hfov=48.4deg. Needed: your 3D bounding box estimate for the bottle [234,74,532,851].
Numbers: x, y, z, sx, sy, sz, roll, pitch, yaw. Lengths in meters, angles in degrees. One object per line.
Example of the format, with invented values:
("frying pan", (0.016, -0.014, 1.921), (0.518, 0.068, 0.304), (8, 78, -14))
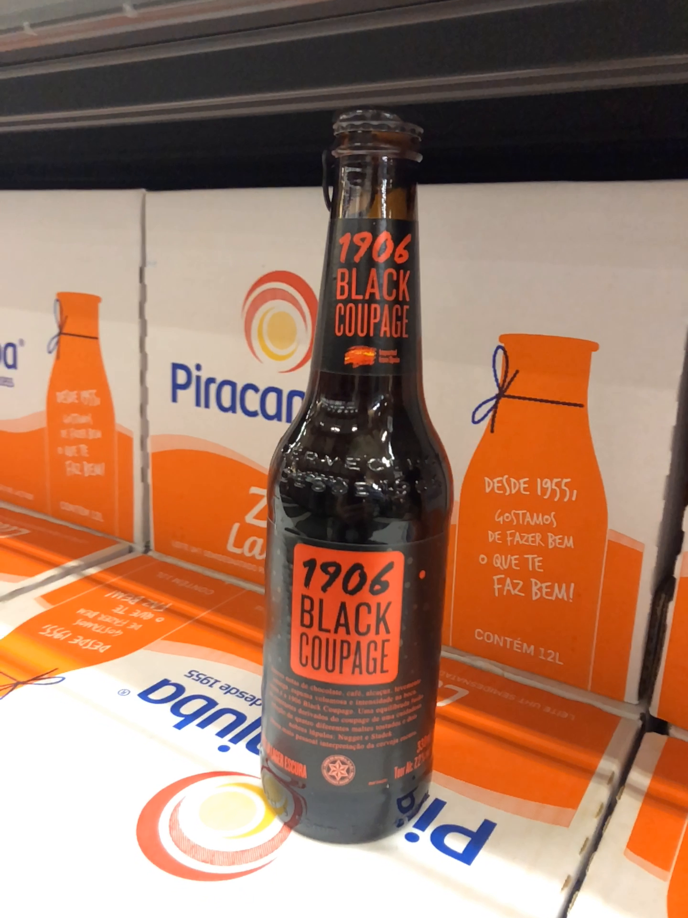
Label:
("bottle", (0.007, 0.005, 0.244), (0.070, 0.219, 0.060), (4, 13, 2))
